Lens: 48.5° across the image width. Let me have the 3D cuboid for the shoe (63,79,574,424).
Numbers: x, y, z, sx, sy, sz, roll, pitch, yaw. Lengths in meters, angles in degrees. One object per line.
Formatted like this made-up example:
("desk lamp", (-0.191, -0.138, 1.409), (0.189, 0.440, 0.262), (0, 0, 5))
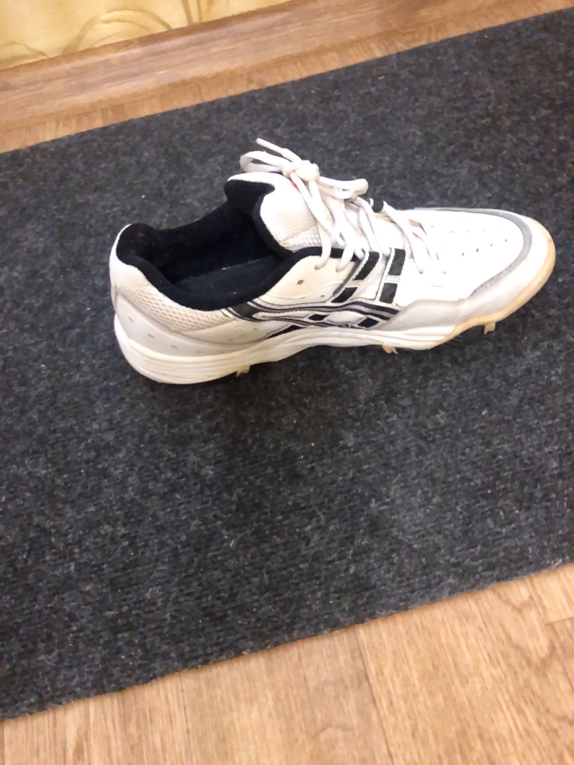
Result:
("shoe", (0.026, -0.073, 0.374), (0.280, 0.100, 0.100), (-13, 57, 0))
